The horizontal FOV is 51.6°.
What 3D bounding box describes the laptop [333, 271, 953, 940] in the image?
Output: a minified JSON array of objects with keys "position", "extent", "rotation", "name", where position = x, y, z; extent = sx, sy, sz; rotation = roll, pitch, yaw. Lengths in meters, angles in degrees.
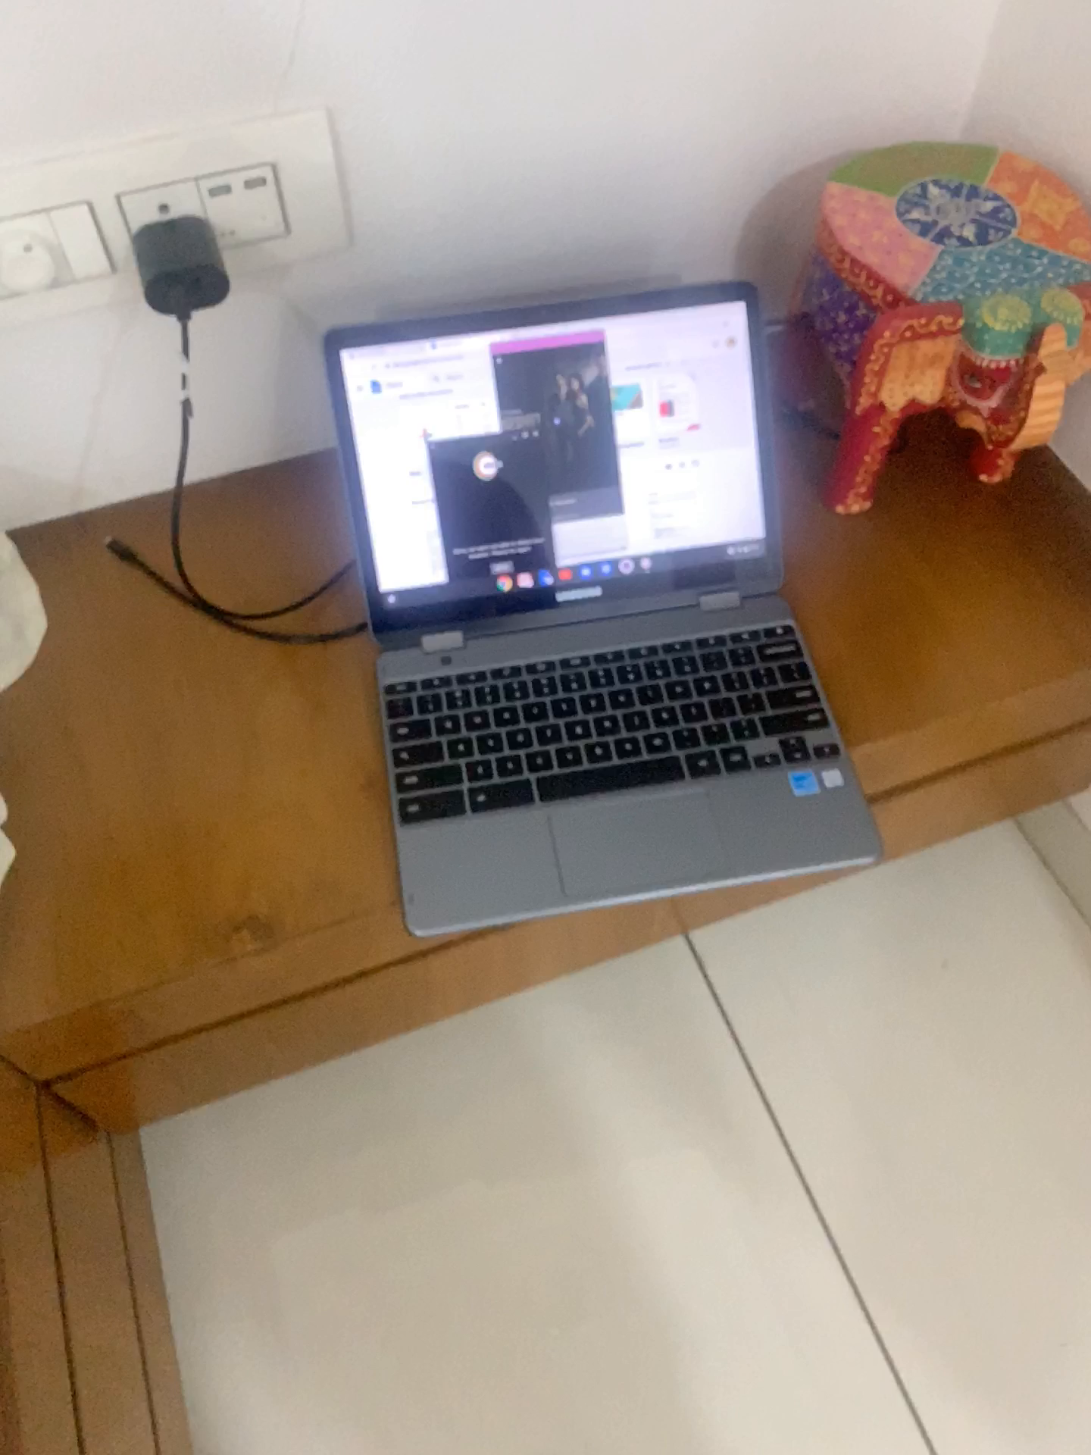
[{"position":[0.037,-0.095,0.769],"extent":[0.314,0.164,0.384],"rotation":[-9,59,-4],"name":"laptop"}]
